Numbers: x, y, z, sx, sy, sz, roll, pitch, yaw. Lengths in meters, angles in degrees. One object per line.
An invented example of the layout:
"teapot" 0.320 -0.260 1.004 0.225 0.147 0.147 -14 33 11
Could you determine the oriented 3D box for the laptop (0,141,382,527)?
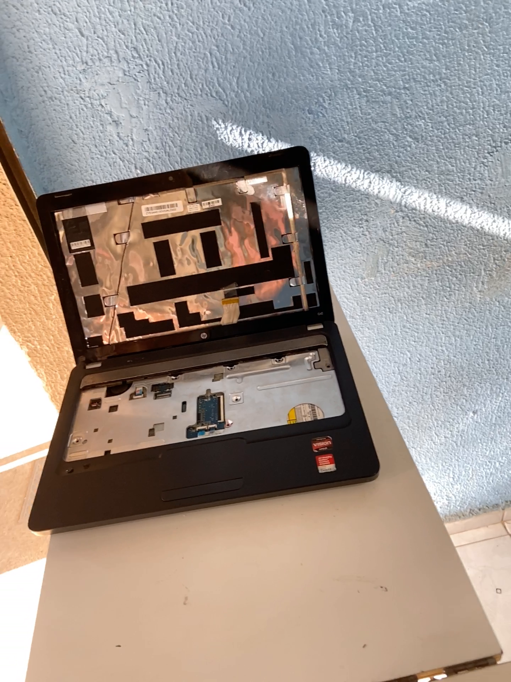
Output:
"laptop" -0.078 -0.032 0.571 0.338 0.179 0.351 -10 41 3
